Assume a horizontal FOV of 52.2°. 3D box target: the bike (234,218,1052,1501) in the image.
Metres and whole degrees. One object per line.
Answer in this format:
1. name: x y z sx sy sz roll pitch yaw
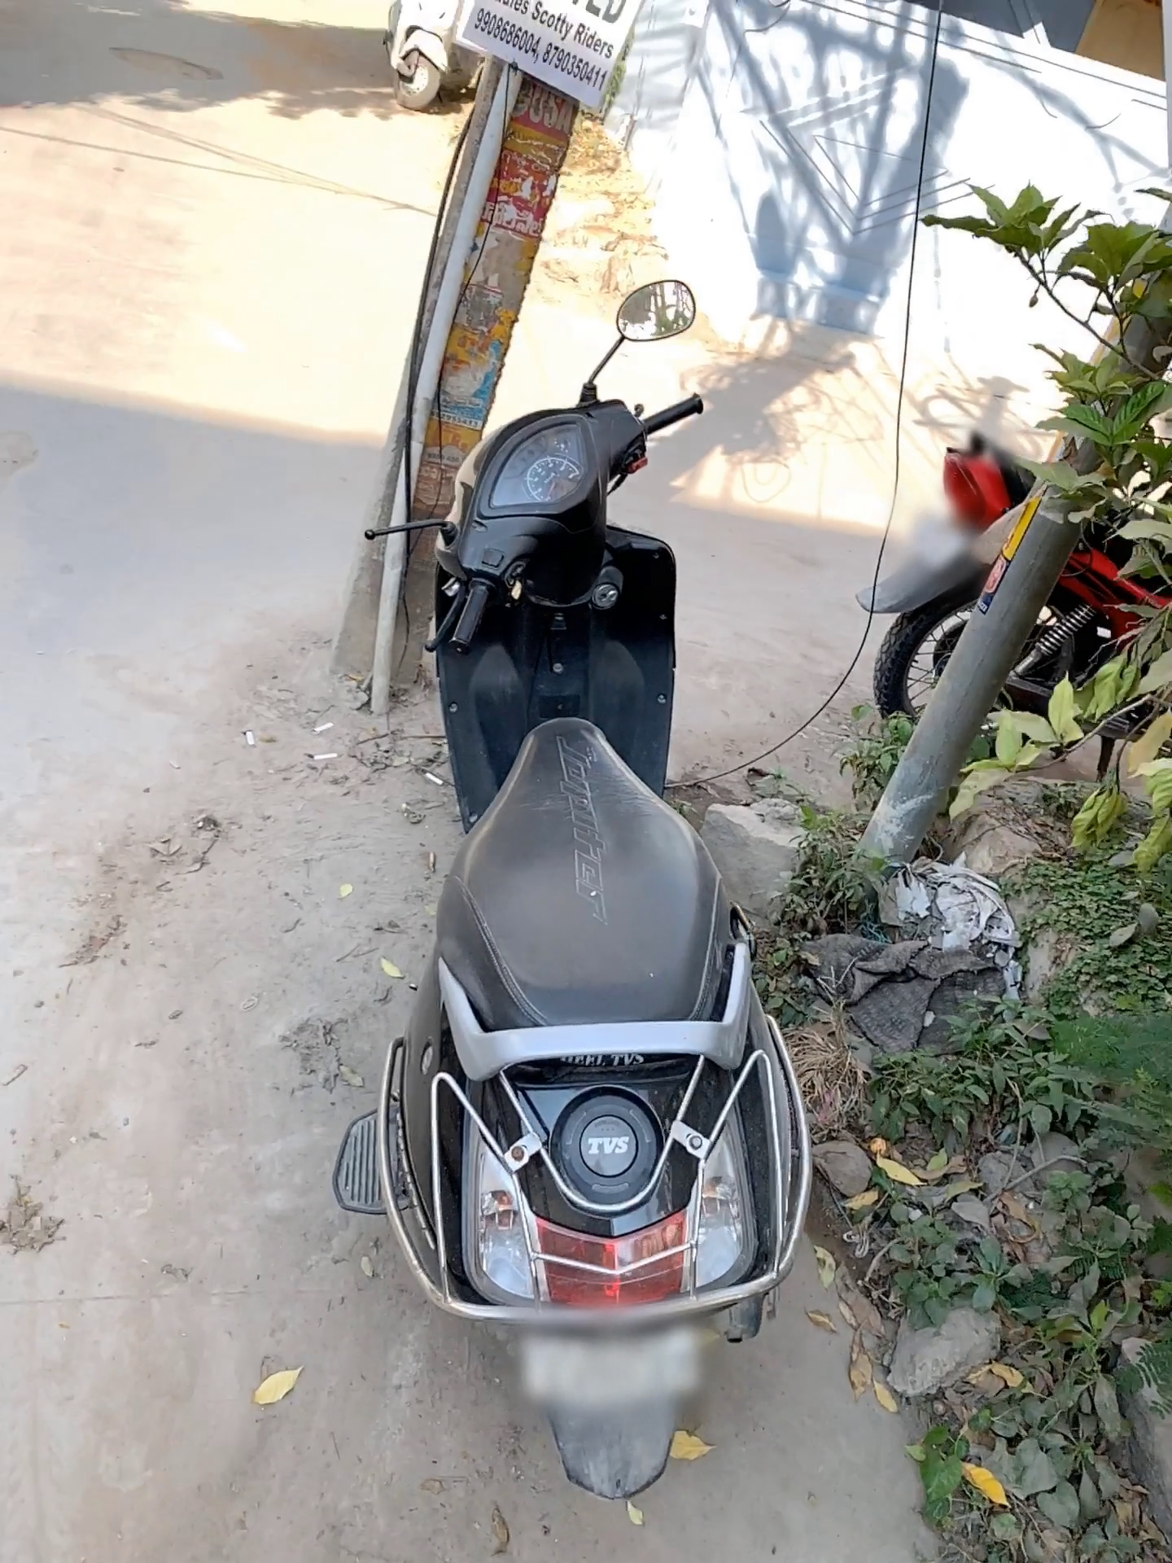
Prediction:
1. bike: -0.108 -0.078 1.913 0.618 0.945 1.823 7 38 -14
